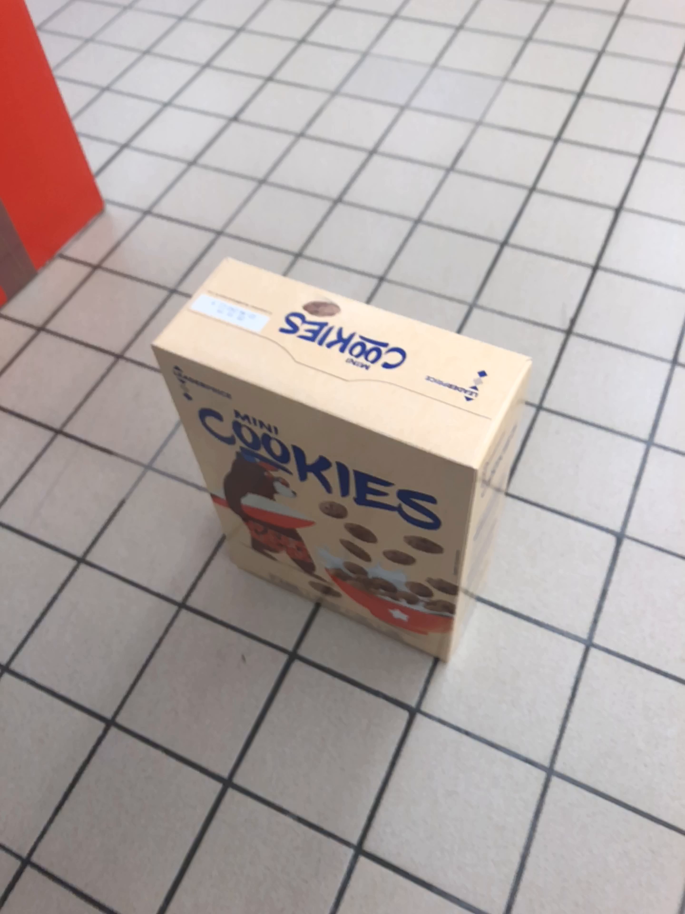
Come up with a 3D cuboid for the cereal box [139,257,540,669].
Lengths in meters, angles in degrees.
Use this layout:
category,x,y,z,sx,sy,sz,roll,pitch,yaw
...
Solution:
category,x,y,z,sx,sy,sz,roll,pitch,yaw
cereal box,0.006,0.022,0.521,0.200,0.279,0.080,21,60,18
